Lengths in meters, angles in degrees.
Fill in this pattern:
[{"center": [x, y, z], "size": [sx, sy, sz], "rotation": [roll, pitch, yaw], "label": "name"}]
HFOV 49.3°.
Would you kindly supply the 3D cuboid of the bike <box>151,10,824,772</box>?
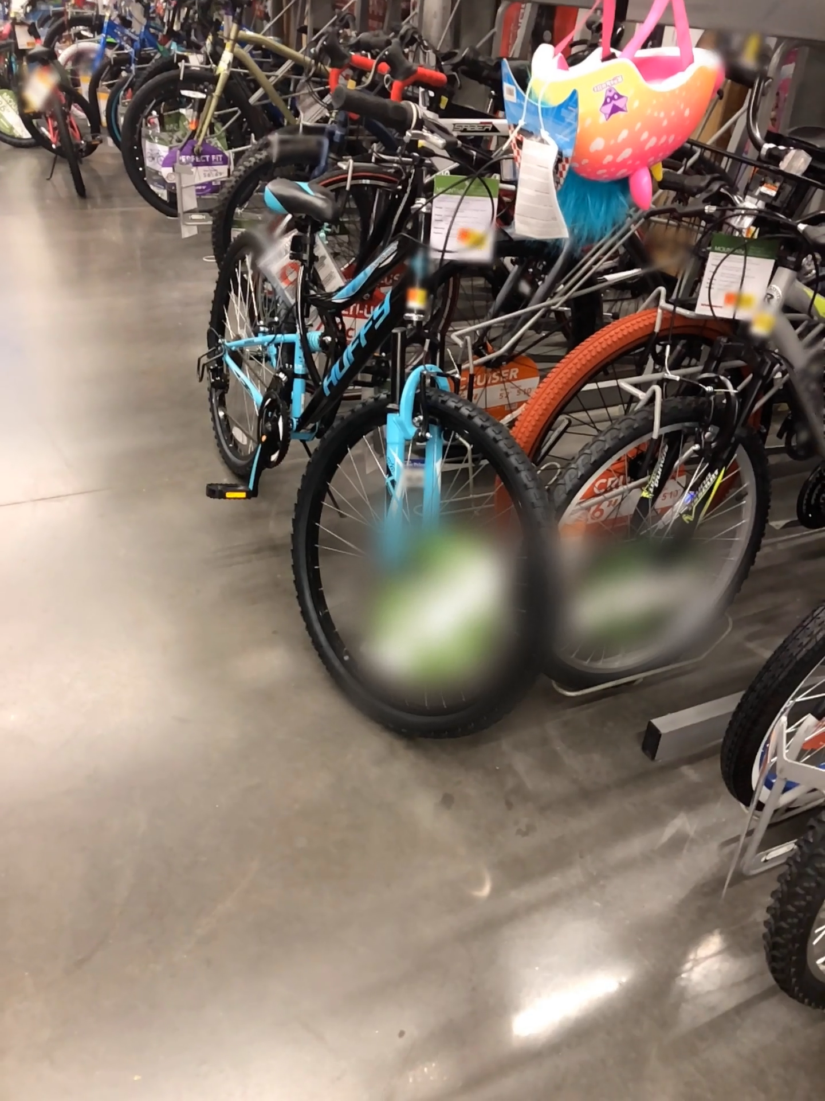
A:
[{"center": [0.001, -0.516, 2.034], "size": [0.544, 1.120, 1.713], "rotation": [-15, 37, -25], "label": "bike"}]
